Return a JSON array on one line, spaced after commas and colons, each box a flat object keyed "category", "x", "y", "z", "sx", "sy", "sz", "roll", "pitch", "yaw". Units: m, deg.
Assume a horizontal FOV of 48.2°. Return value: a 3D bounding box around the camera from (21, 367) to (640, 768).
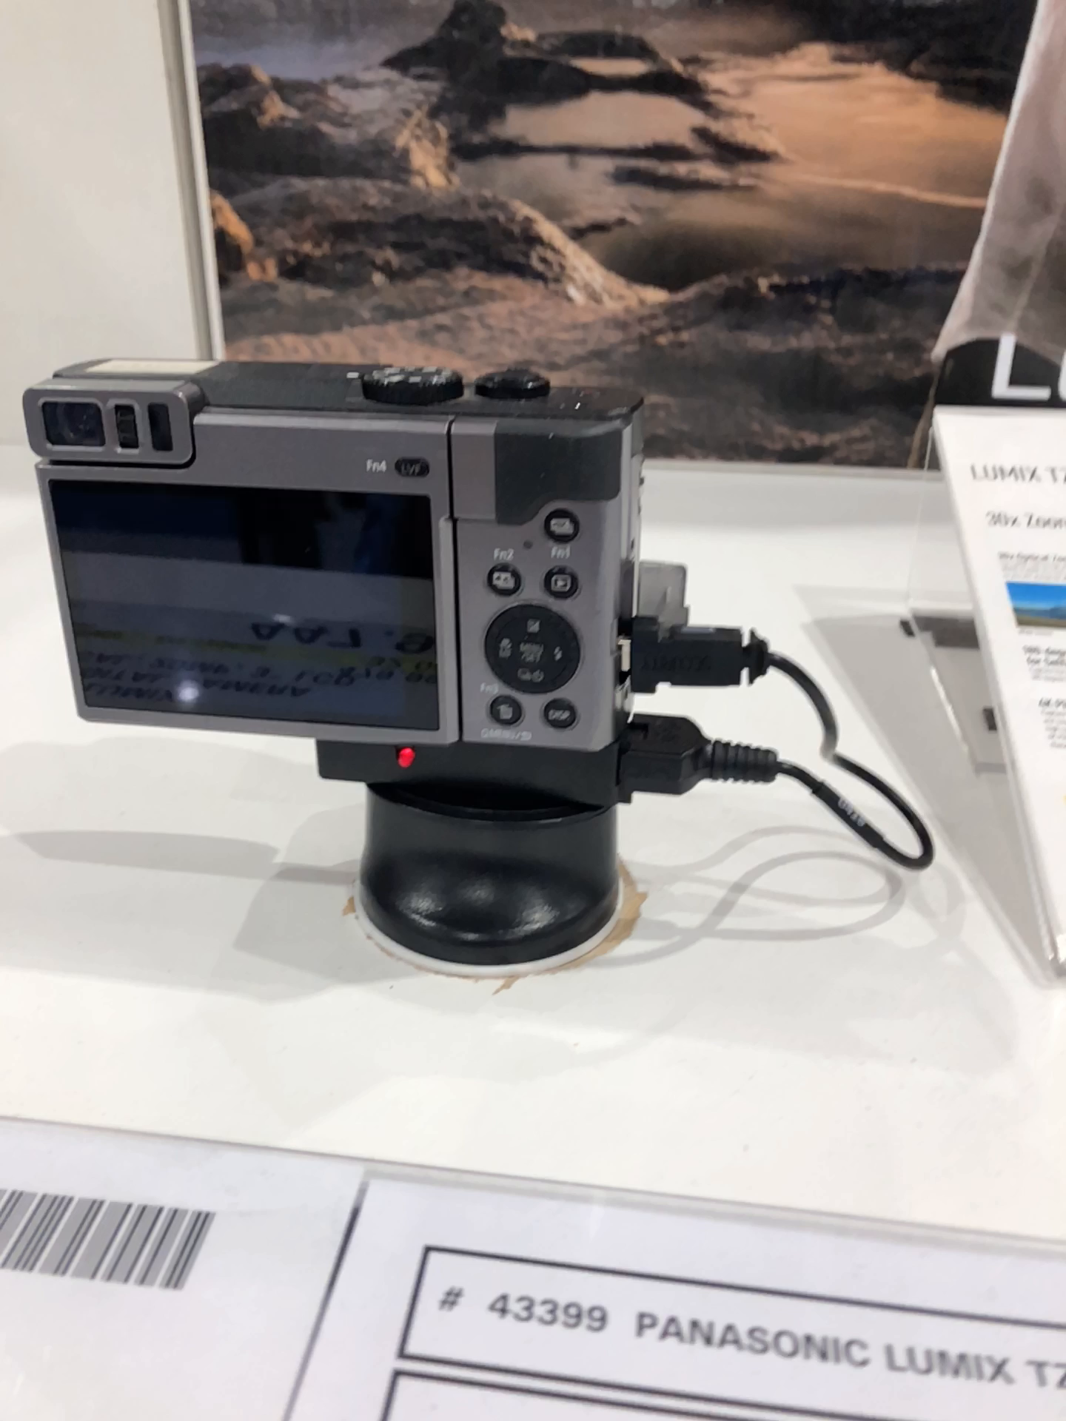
[{"category": "camera", "x": -0.035, "y": -0.029, "z": 0.229, "sx": 0.107, "sy": 0.065, "sz": 0.030, "roll": 4, "pitch": 25, "yaw": 8}]
